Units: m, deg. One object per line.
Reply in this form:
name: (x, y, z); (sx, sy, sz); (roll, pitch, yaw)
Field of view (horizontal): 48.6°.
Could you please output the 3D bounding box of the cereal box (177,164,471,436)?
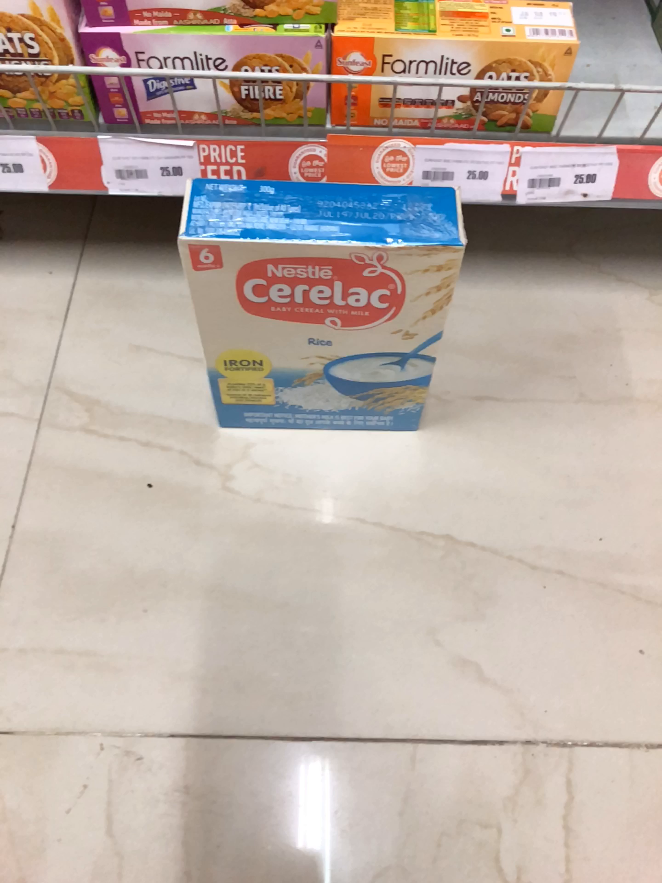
cereal box: (-0.005, -0.078, 0.470); (0.150, 0.189, 0.060); (1, 60, -1)
